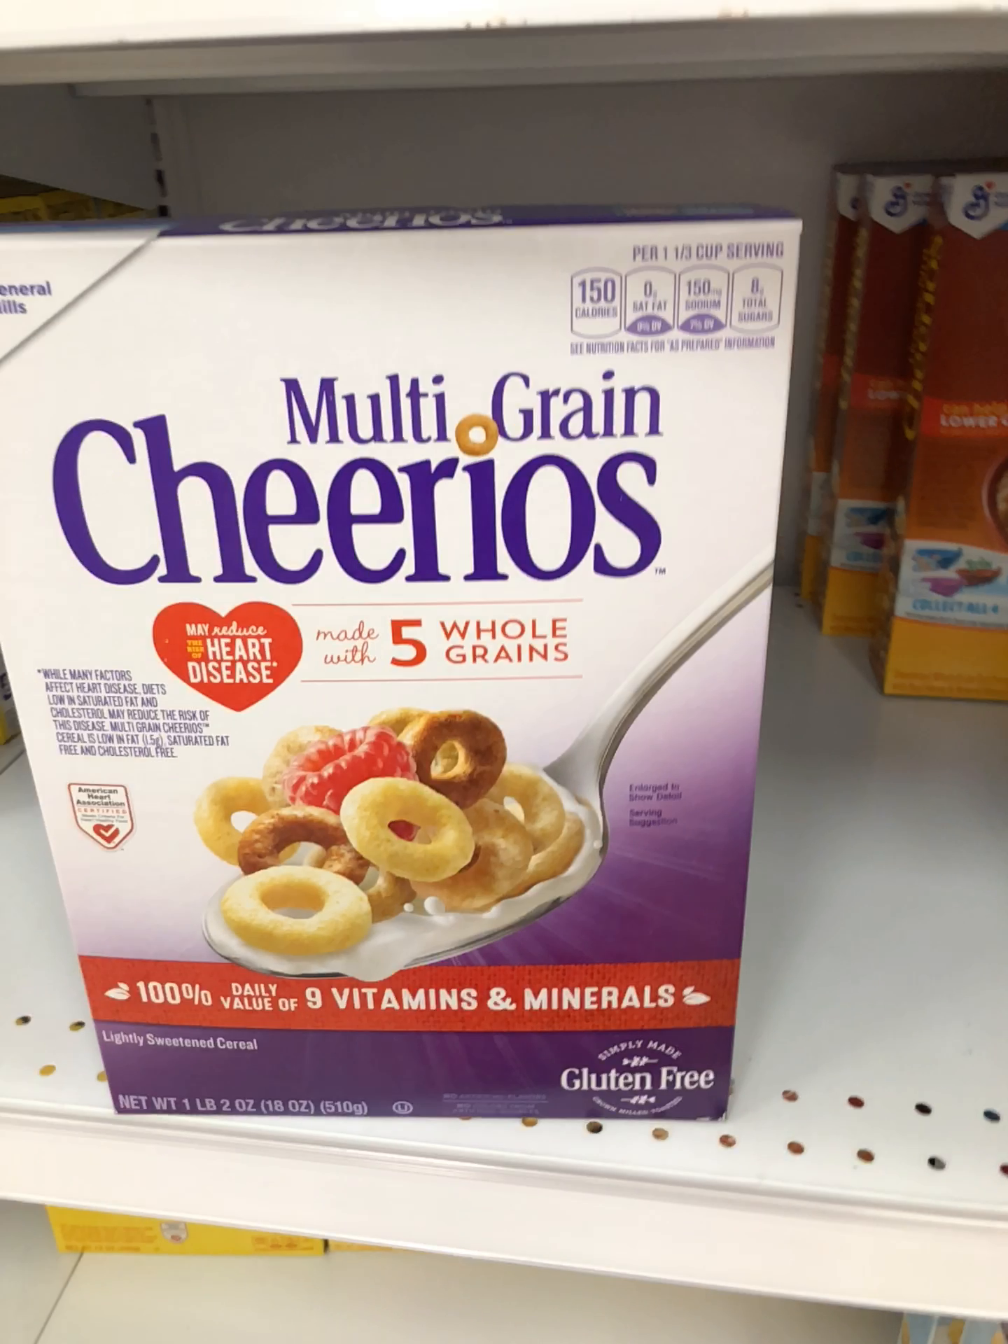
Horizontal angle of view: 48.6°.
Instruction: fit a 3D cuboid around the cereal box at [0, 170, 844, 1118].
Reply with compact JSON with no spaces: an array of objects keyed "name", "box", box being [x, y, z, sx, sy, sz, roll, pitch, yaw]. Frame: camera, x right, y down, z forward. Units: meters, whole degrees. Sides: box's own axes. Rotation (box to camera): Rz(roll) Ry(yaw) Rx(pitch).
[{"name":"cereal box","box":[-0.038,0.011,0.392,0.260,0.329,0.070,-1,27,2]}]
